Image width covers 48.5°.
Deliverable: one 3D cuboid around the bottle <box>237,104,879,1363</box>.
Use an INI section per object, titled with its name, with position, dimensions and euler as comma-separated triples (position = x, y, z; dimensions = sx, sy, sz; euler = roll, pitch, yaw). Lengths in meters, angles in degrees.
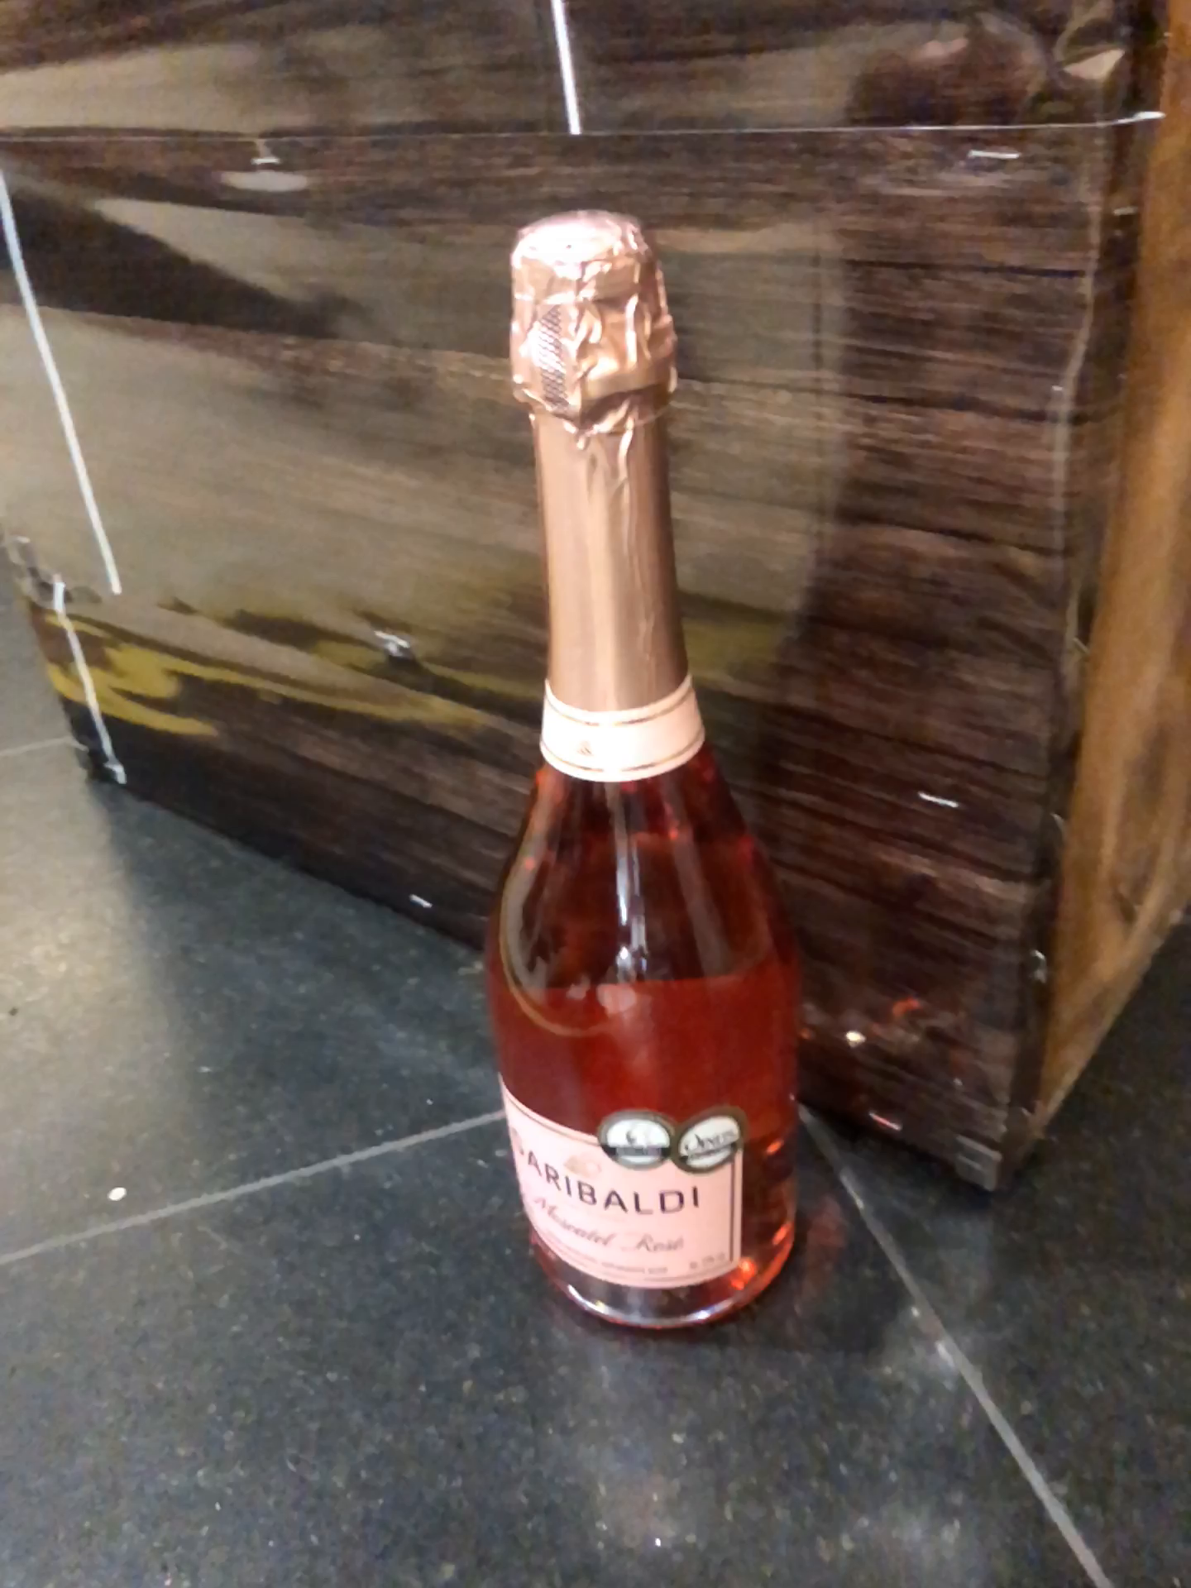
[bottle]
position = 0.008, -0.004, 0.384
dimensions = 0.110, 0.337, 0.101
euler = -4, 31, 2
